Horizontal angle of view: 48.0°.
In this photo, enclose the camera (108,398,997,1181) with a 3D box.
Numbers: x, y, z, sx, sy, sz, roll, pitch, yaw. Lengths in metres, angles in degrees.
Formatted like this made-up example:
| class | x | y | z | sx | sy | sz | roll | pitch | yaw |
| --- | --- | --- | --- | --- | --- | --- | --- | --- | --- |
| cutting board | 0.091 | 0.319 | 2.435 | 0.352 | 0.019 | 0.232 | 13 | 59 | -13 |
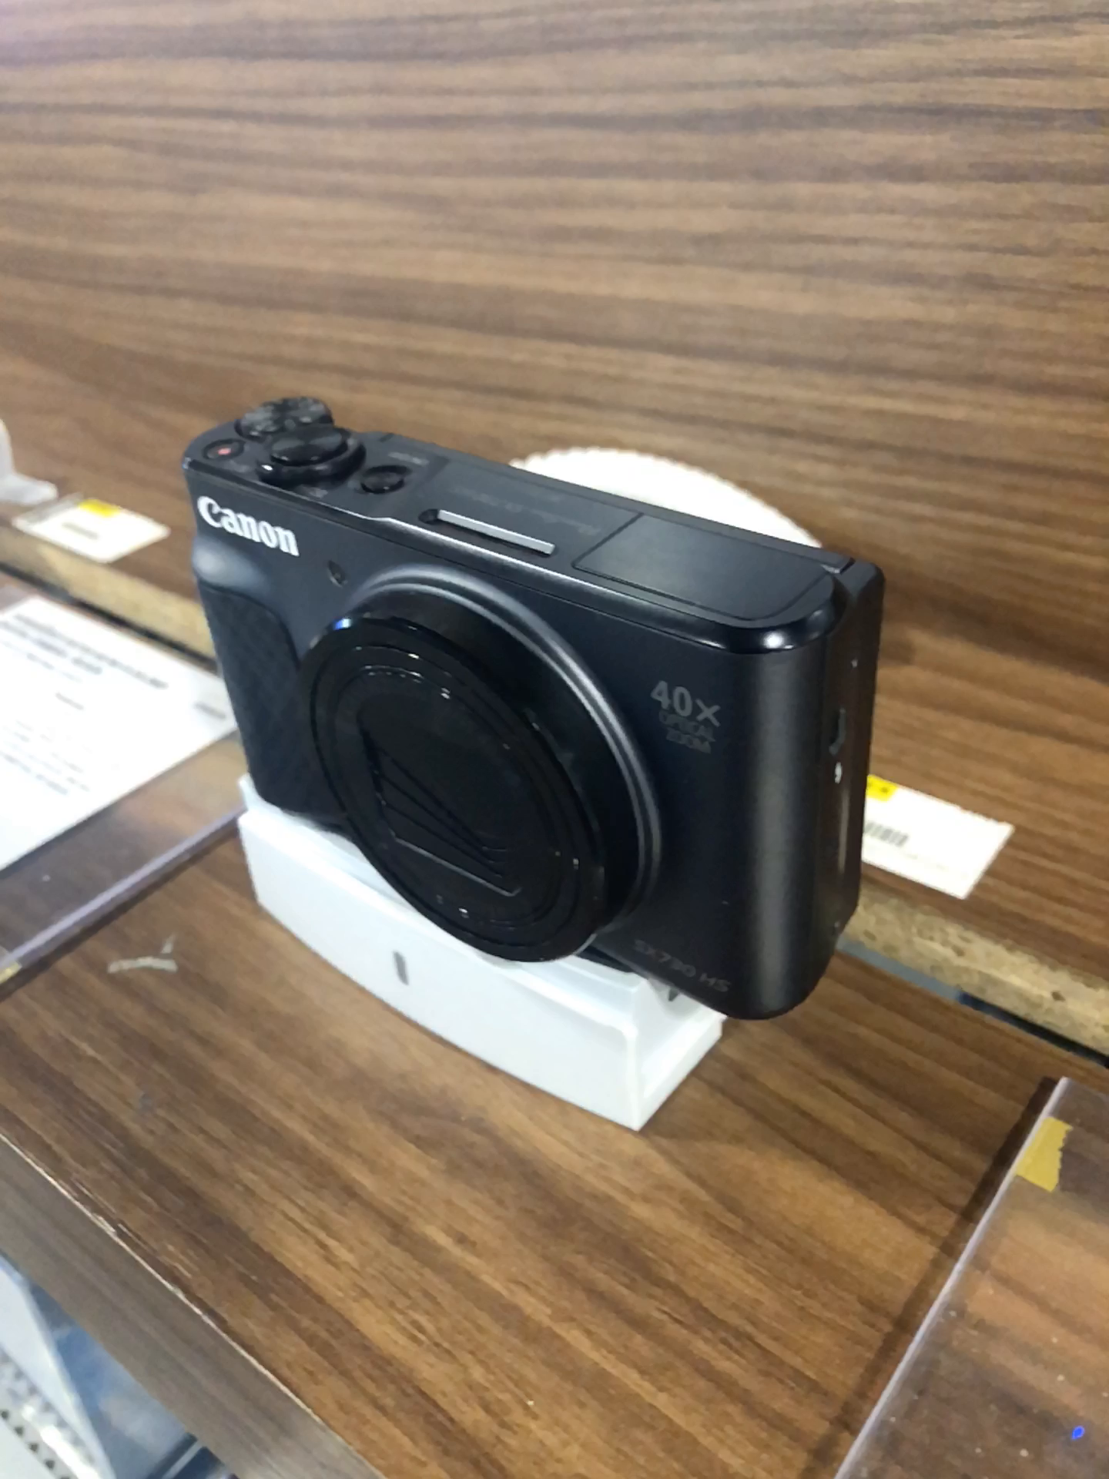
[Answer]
| class | x | y | z | sx | sy | sz | roll | pitch | yaw |
| --- | --- | --- | --- | --- | --- | --- | --- | --- | --- |
| camera | -0.004 | 0.000 | 0.170 | 0.110 | 0.063 | 0.037 | 23 | 45 | 33 |
